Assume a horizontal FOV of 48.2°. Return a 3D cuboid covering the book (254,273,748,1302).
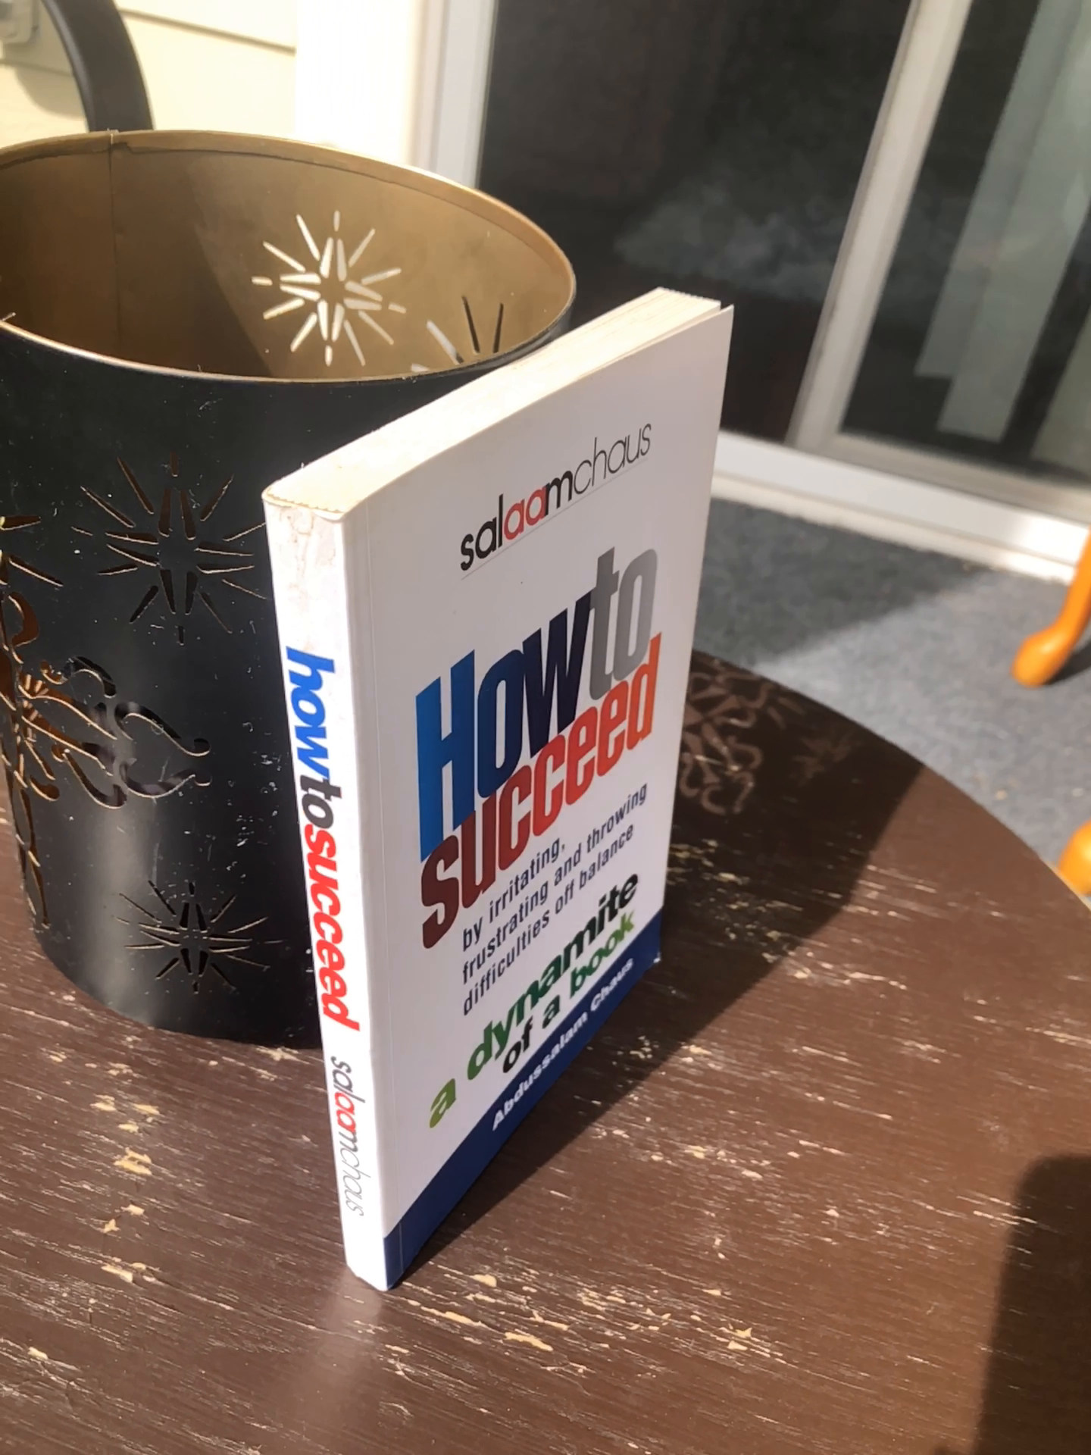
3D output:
[{"bbox_3d":[-0.003,0.016,0.286,0.018,0.207,0.139,21,38,24],"label":"book"}]
